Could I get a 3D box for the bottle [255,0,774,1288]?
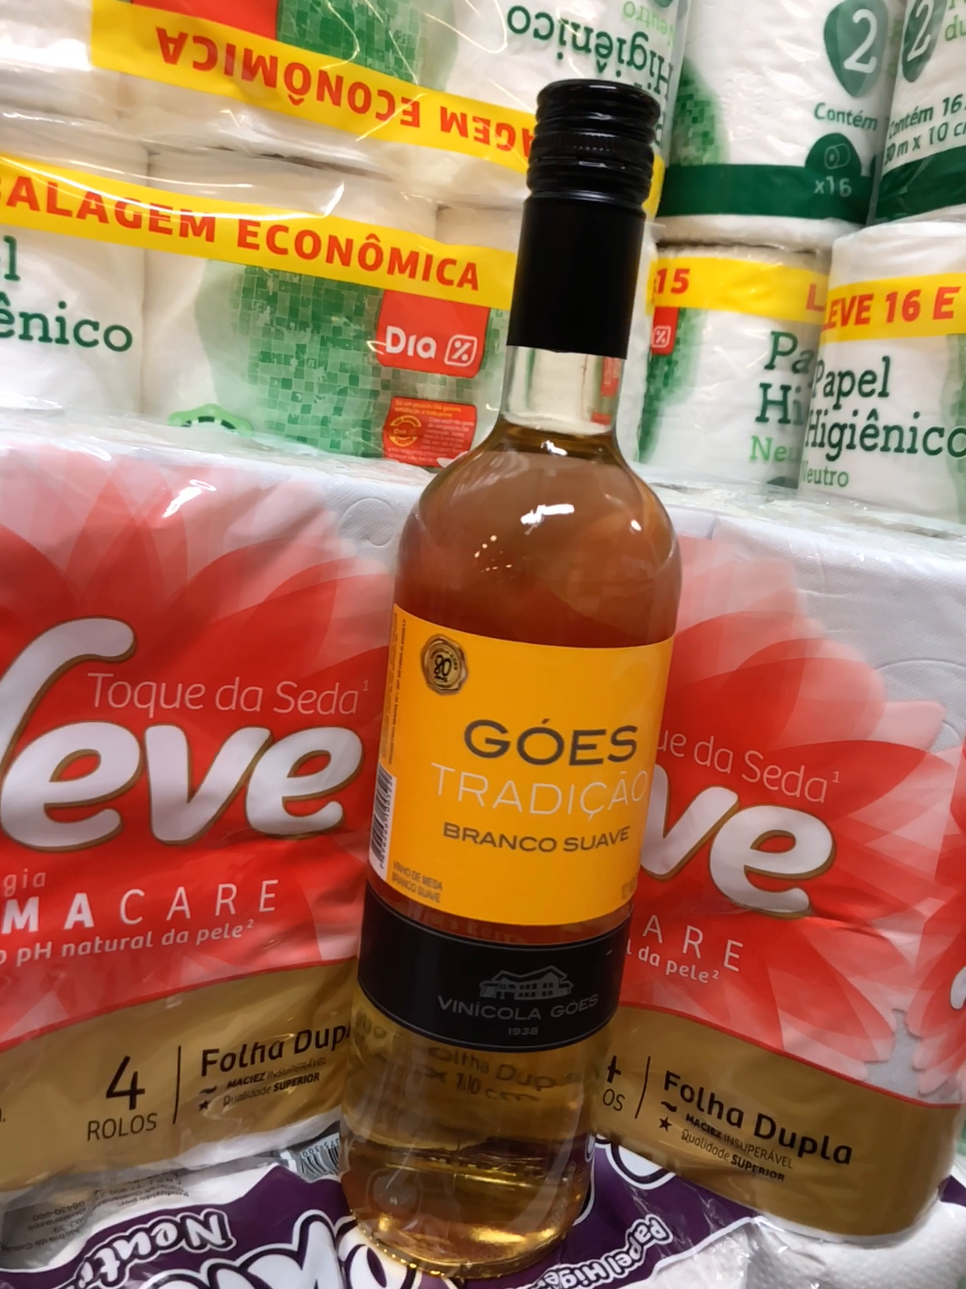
[{"bbox_3d":[-0.003,0.016,0.290,0.090,0.318,0.090,5,14,-1],"label":"bottle"}]
